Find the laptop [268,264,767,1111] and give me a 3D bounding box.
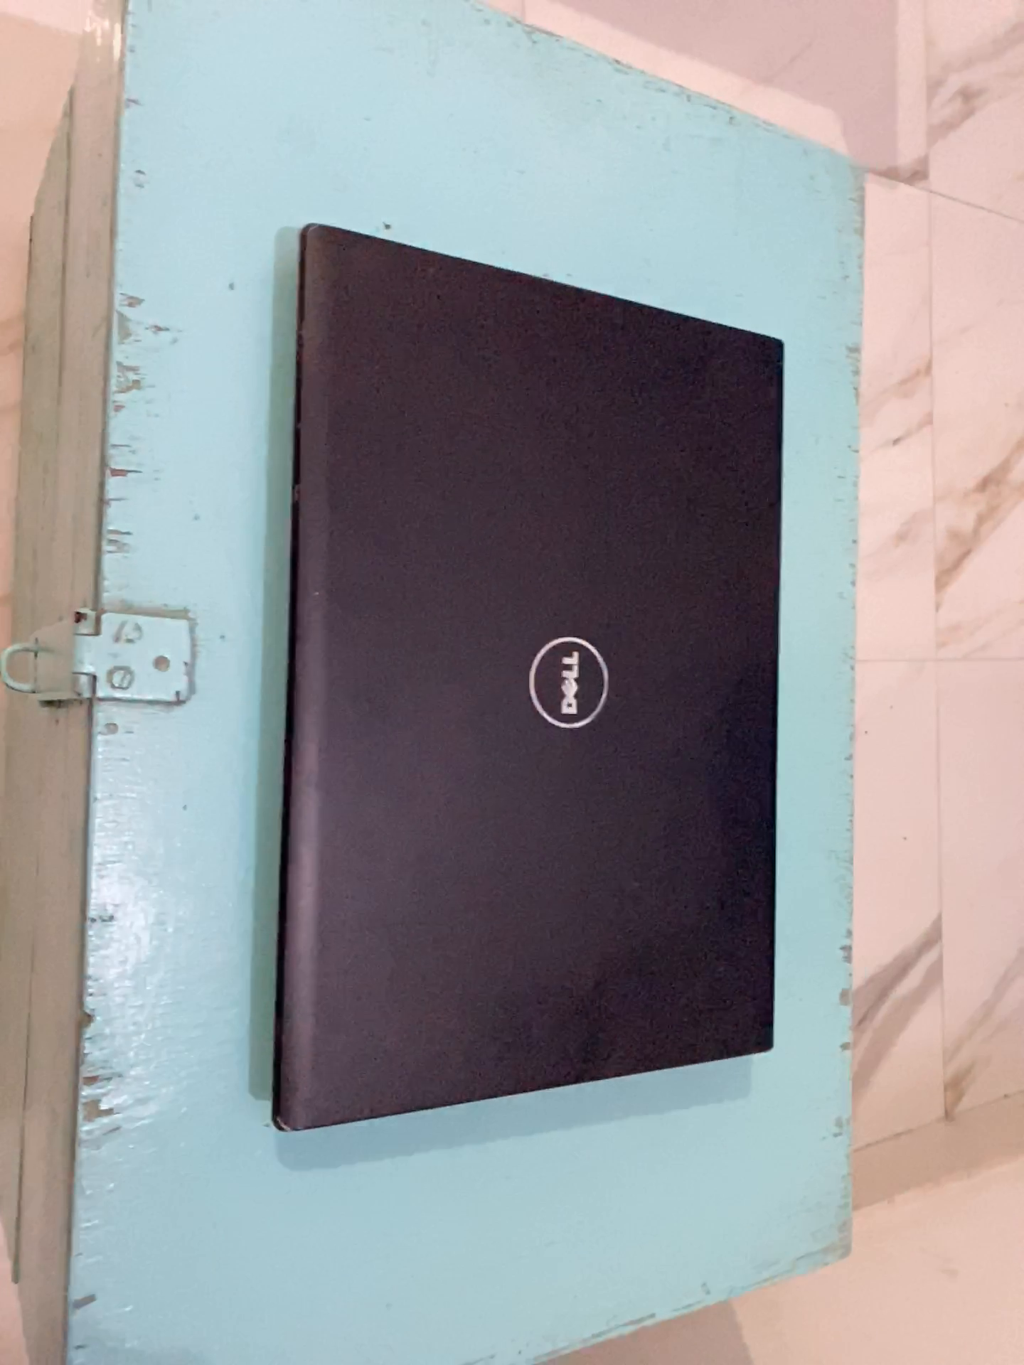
[{"bbox_3d":[0.020,0.003,0.537,0.270,0.004,0.384,4,87,-28],"label":"laptop"}]
